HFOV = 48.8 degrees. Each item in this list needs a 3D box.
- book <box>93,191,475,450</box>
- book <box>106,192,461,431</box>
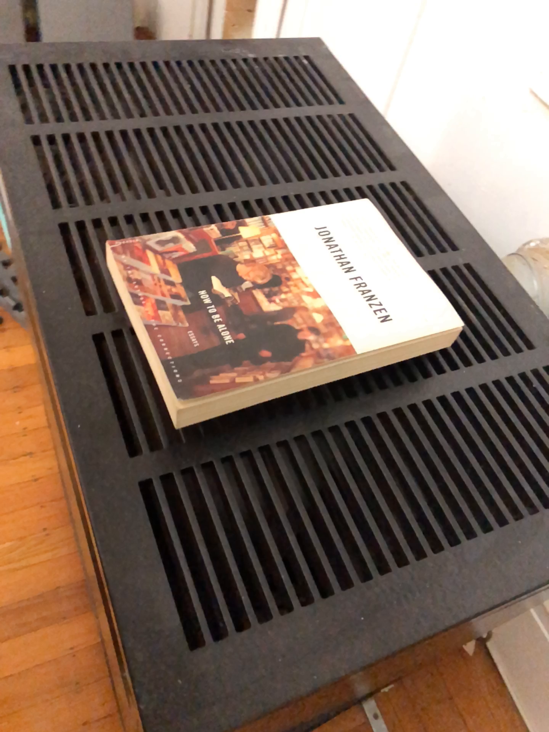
[{"bbox_3d":[0.005,-0.045,0.408,0.210,0.030,0.150,-16,58,-24],"label":"book"},{"bbox_3d":[0.005,-0.053,0.437,0.210,0.030,0.150,-16,58,-24],"label":"book"}]
